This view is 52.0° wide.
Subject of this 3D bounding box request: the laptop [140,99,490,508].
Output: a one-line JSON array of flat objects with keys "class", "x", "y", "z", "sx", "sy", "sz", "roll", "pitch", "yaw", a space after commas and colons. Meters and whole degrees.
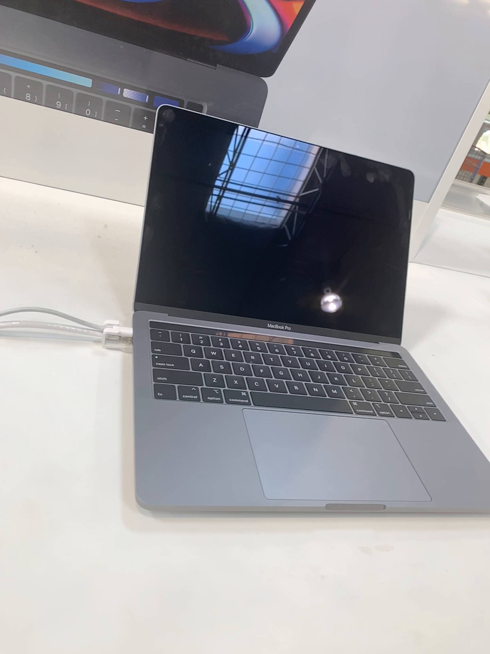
[{"class": "laptop", "x": 0.071, "y": -0.035, "z": 0.421, "sx": 0.284, "sy": 0.150, "sz": 0.316, "roll": 8, "pitch": 34, "yaw": -19}]
